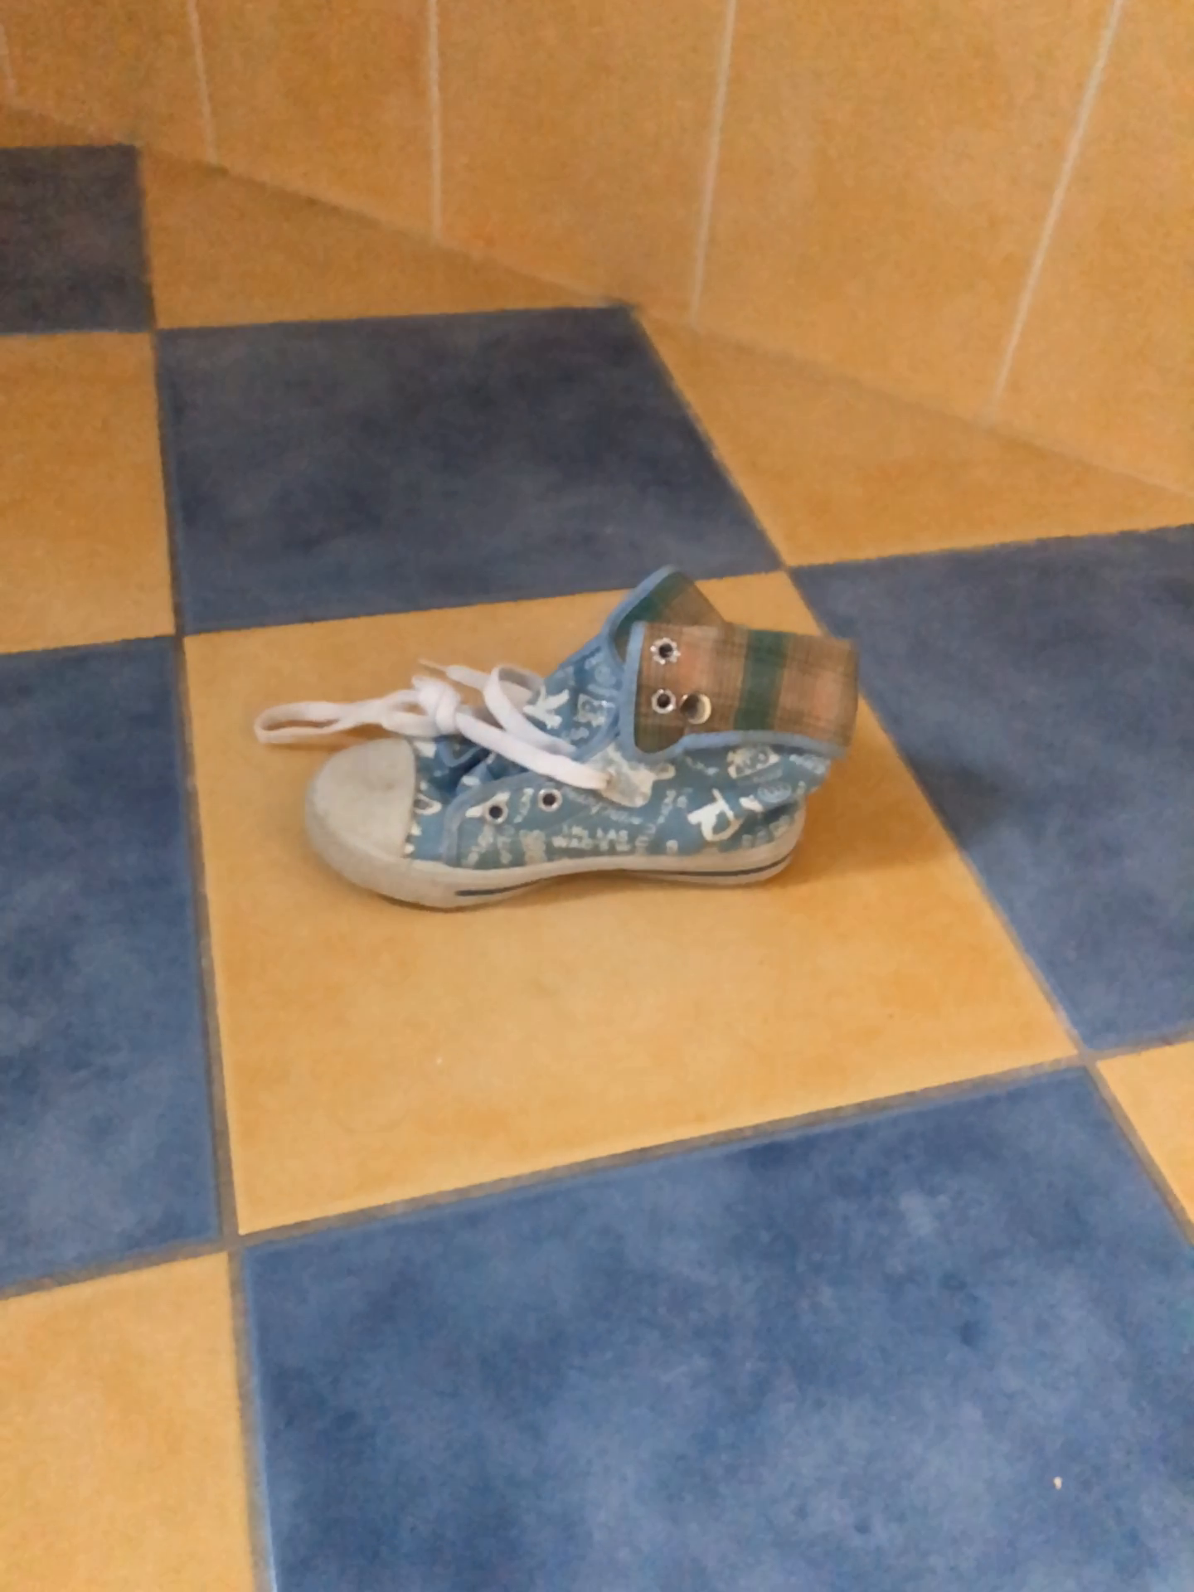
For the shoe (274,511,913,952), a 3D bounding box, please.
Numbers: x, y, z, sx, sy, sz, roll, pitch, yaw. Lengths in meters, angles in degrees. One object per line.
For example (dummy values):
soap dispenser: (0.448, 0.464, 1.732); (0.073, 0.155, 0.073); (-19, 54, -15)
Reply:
shoe: (-0.007, -0.024, 0.479); (0.200, 0.119, 0.080); (-6, 46, -11)
